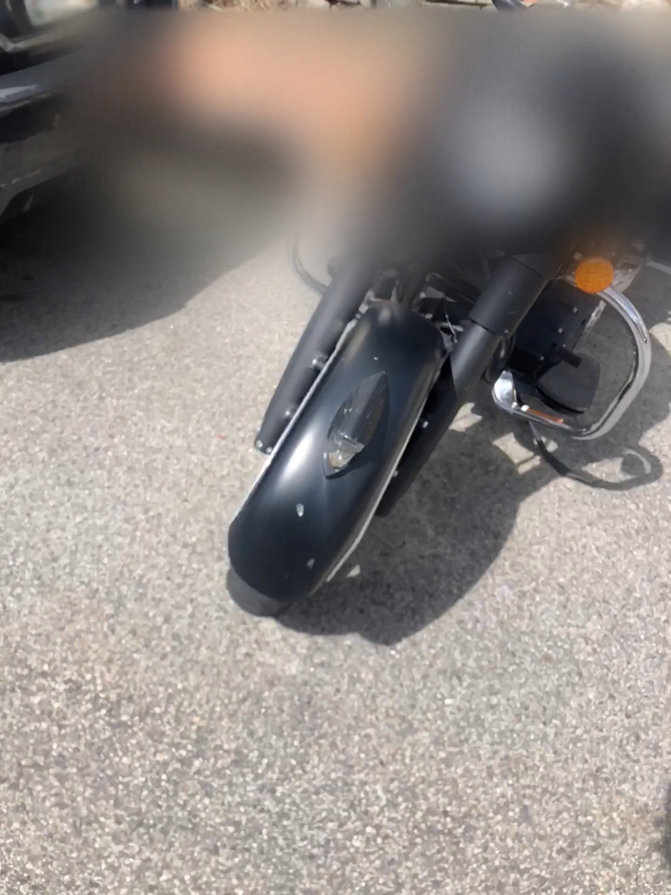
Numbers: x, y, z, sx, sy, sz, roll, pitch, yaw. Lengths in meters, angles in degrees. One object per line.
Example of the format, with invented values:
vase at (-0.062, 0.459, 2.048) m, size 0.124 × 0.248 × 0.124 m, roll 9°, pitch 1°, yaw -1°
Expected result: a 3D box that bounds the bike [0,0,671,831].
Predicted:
bike at (0.373, -0.521, 1.824) m, size 0.856 × 1.300 × 2.102 m, roll 18°, pitch 44°, yaw 20°
